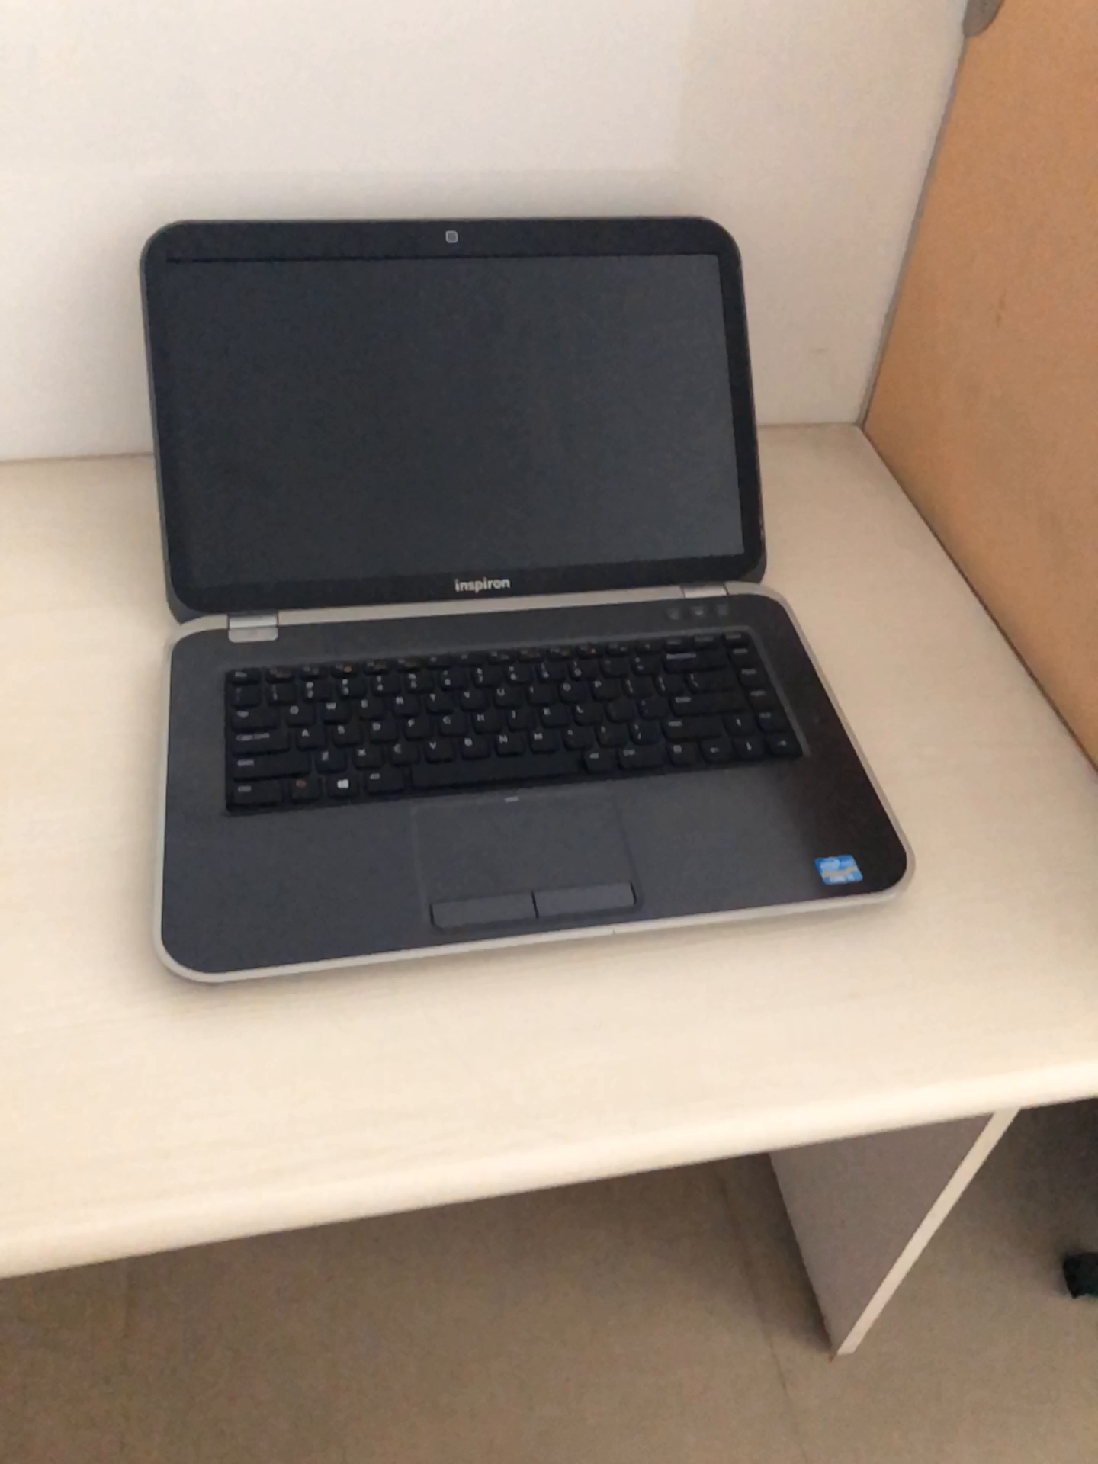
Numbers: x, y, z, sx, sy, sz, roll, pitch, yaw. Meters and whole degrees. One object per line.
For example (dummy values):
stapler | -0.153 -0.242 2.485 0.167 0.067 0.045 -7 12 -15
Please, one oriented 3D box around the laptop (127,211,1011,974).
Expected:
laptop | -0.026 -0.110 0.647 0.339 0.152 0.411 -5 47 -10
